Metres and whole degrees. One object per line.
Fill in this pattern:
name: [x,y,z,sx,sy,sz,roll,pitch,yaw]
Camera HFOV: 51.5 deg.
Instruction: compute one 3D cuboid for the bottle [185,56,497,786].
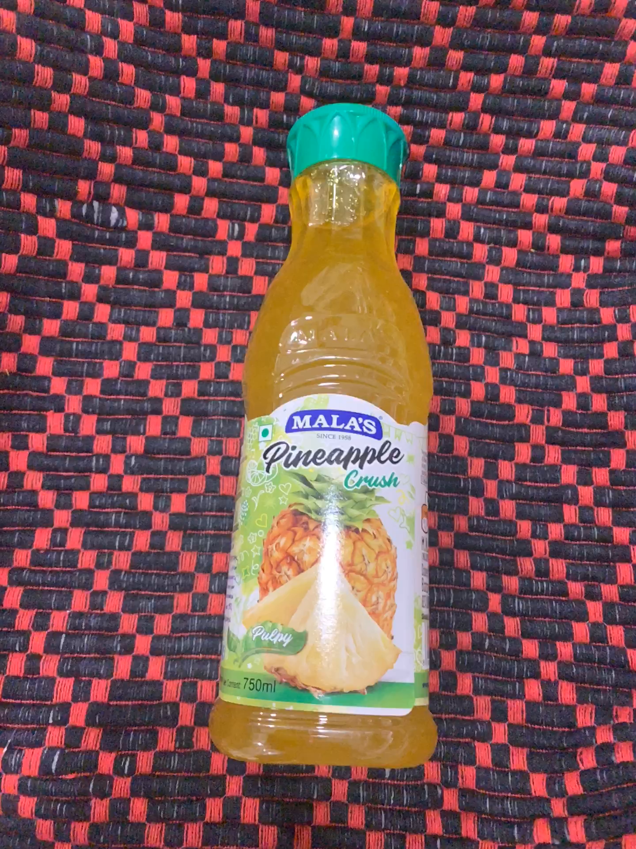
bottle: [0.008,-0.008,0.236,0.080,0.070,0.230,3,73,-3]
